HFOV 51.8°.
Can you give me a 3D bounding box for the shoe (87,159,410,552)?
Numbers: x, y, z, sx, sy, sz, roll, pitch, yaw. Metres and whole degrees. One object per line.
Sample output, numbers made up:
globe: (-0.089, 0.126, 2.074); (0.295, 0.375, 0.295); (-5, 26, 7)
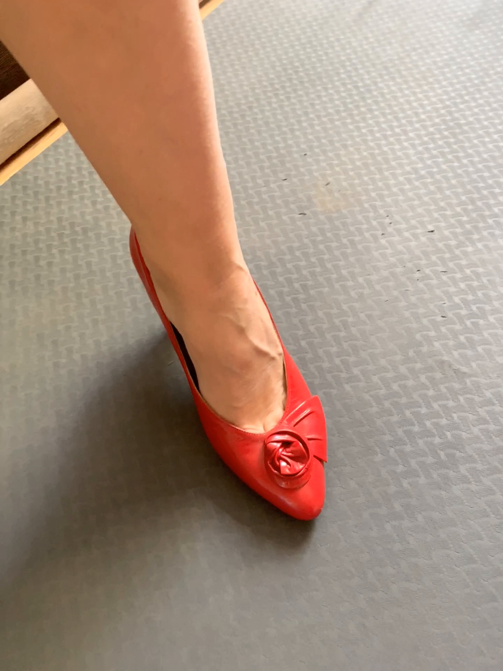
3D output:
shoe: (-0.011, 0.007, 0.325); (0.080, 0.110, 0.211); (-28, 60, -13)
